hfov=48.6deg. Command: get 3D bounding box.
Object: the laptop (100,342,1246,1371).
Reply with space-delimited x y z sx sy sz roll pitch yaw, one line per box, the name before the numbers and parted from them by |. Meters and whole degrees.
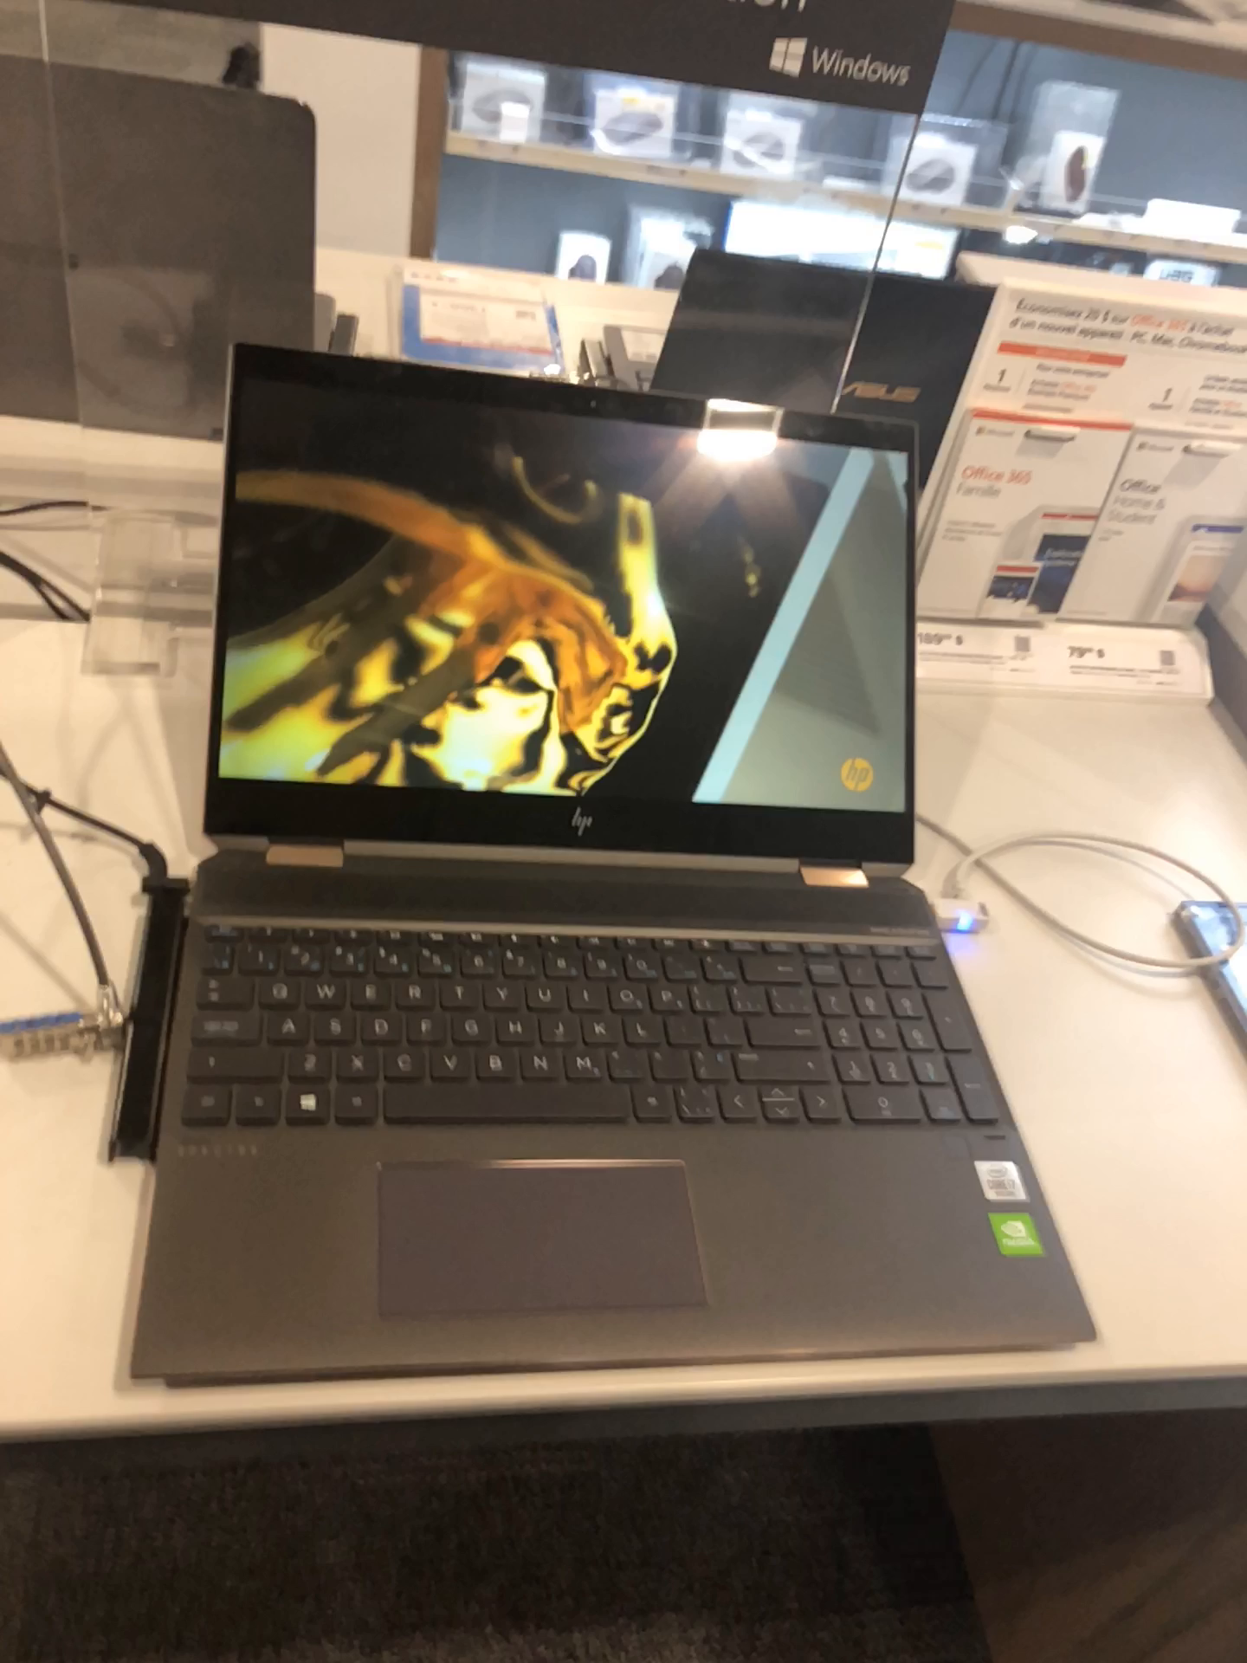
laptop | -0.003 -0.021 0.573 0.333 0.145 0.427 2 44 -10
